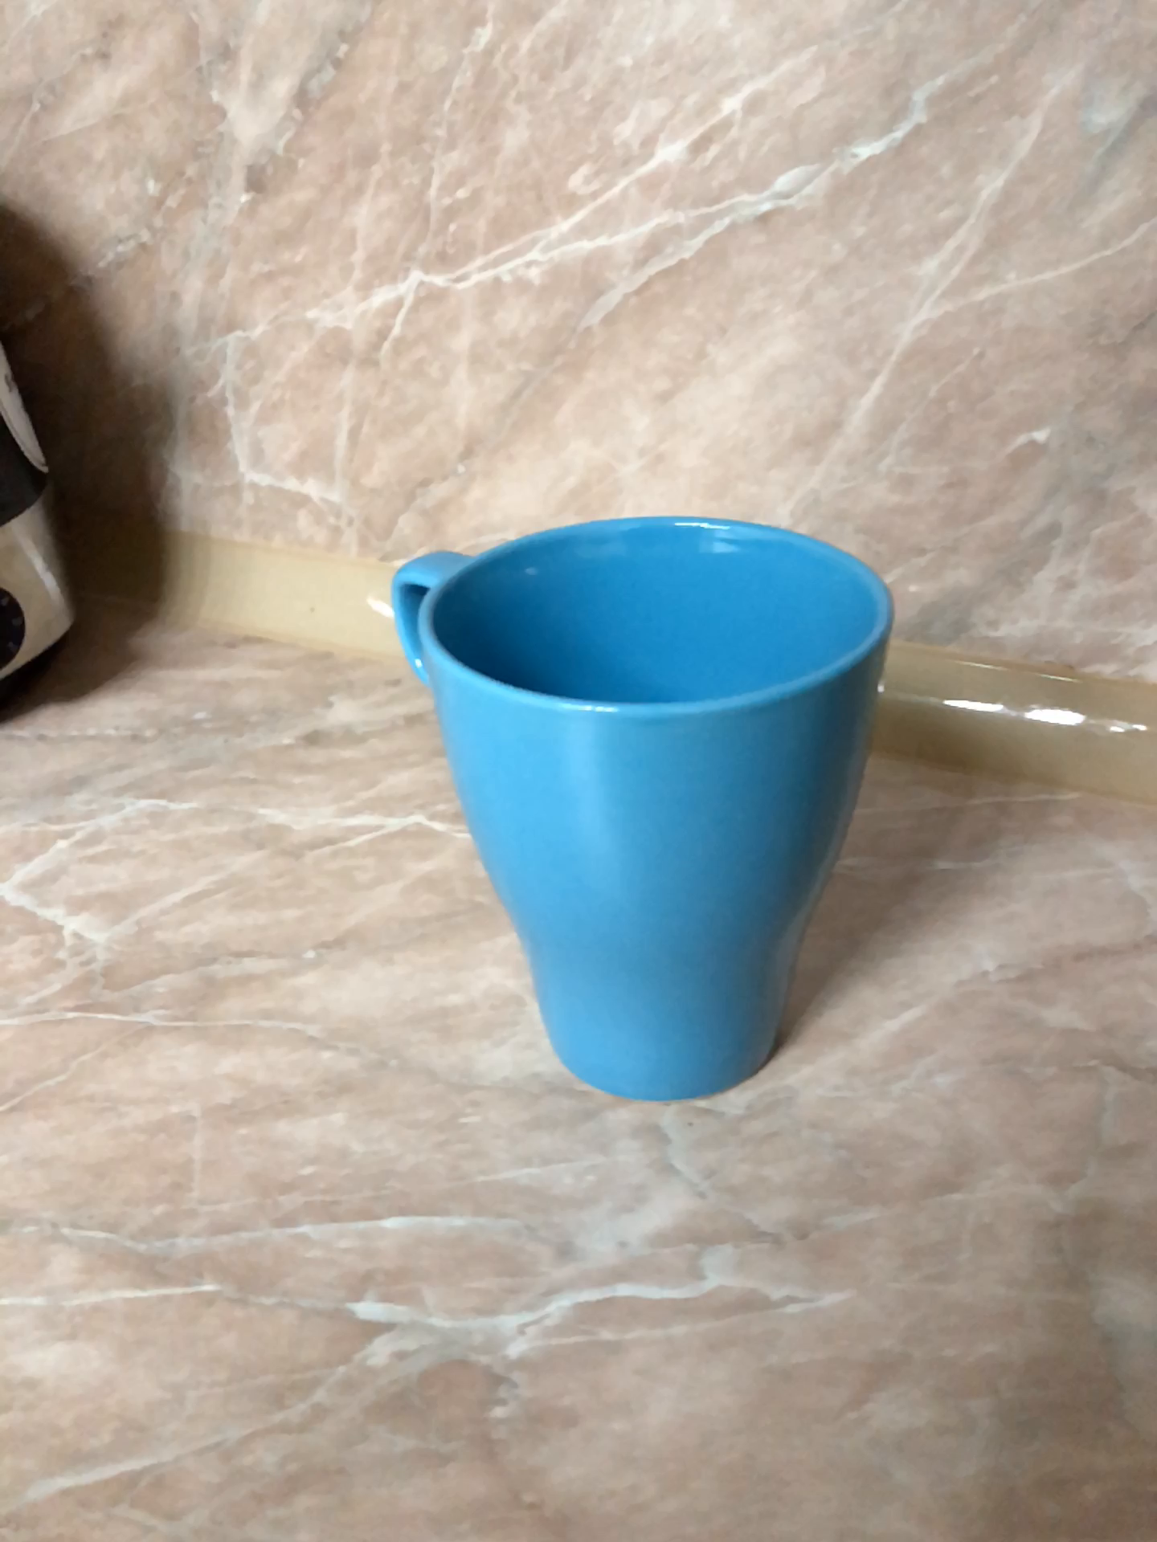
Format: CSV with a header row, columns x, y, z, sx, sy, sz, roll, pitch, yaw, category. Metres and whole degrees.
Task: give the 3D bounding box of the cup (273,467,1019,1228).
x,y,z,sx,sy,sz,roll,pitch,yaw,category
0.010,0.004,0.259,0.086,0.089,0.111,-24,36,-31,cup
